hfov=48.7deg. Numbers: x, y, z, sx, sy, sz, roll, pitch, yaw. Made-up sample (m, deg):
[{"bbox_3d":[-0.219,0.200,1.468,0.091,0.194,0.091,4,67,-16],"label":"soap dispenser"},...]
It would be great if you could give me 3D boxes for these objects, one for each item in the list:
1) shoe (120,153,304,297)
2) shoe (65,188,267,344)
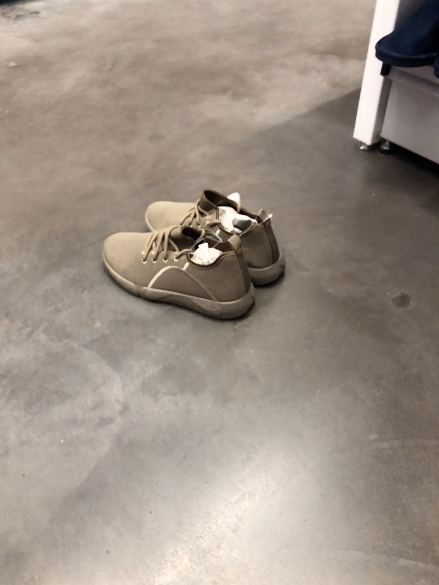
[{"bbox_3d":[-0.012,-0.102,0.702,0.240,0.109,0.091,23,51,23],"label":"shoe"},{"bbox_3d":[-0.068,-0.041,0.654,0.240,0.109,0.101,19,50,20],"label":"shoe"}]
